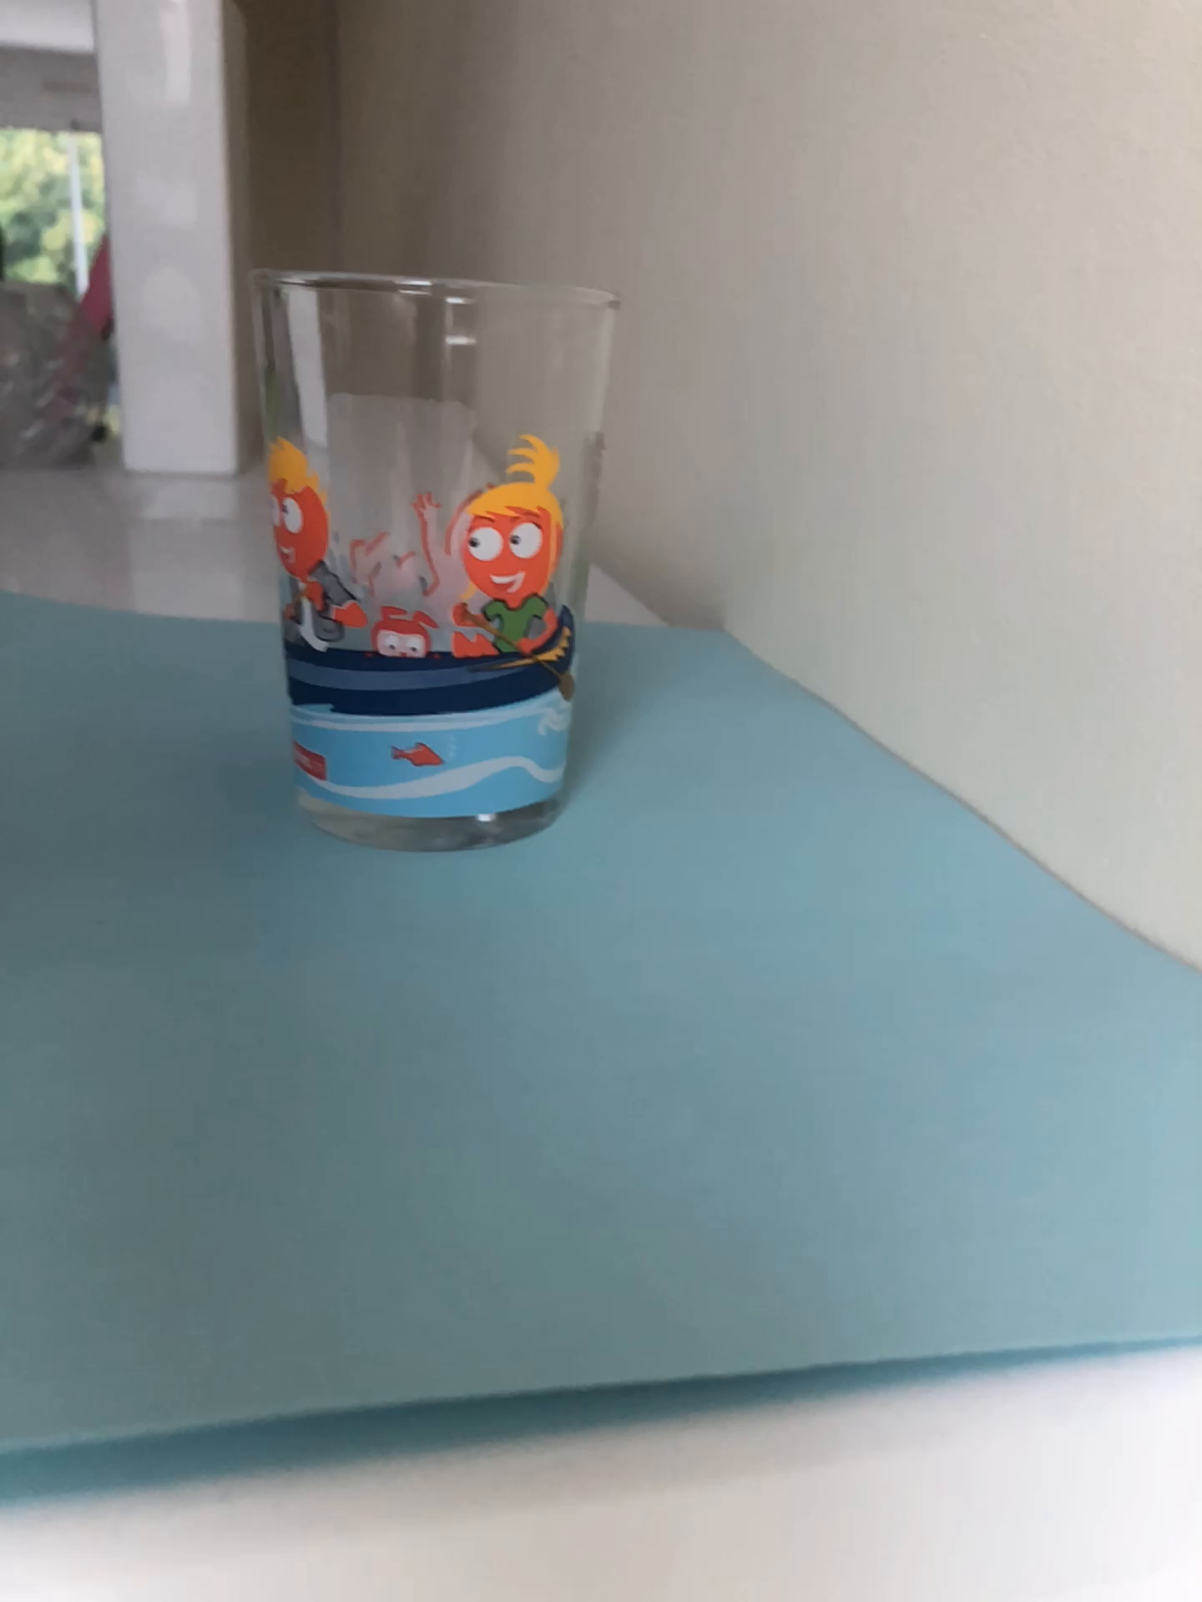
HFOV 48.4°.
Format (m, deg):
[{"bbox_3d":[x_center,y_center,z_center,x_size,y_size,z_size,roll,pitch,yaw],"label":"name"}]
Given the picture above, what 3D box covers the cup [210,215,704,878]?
[{"bbox_3d":[-0.028,-0.048,0.242,0.060,0.100,0.060,3,19,-1],"label":"cup"}]
